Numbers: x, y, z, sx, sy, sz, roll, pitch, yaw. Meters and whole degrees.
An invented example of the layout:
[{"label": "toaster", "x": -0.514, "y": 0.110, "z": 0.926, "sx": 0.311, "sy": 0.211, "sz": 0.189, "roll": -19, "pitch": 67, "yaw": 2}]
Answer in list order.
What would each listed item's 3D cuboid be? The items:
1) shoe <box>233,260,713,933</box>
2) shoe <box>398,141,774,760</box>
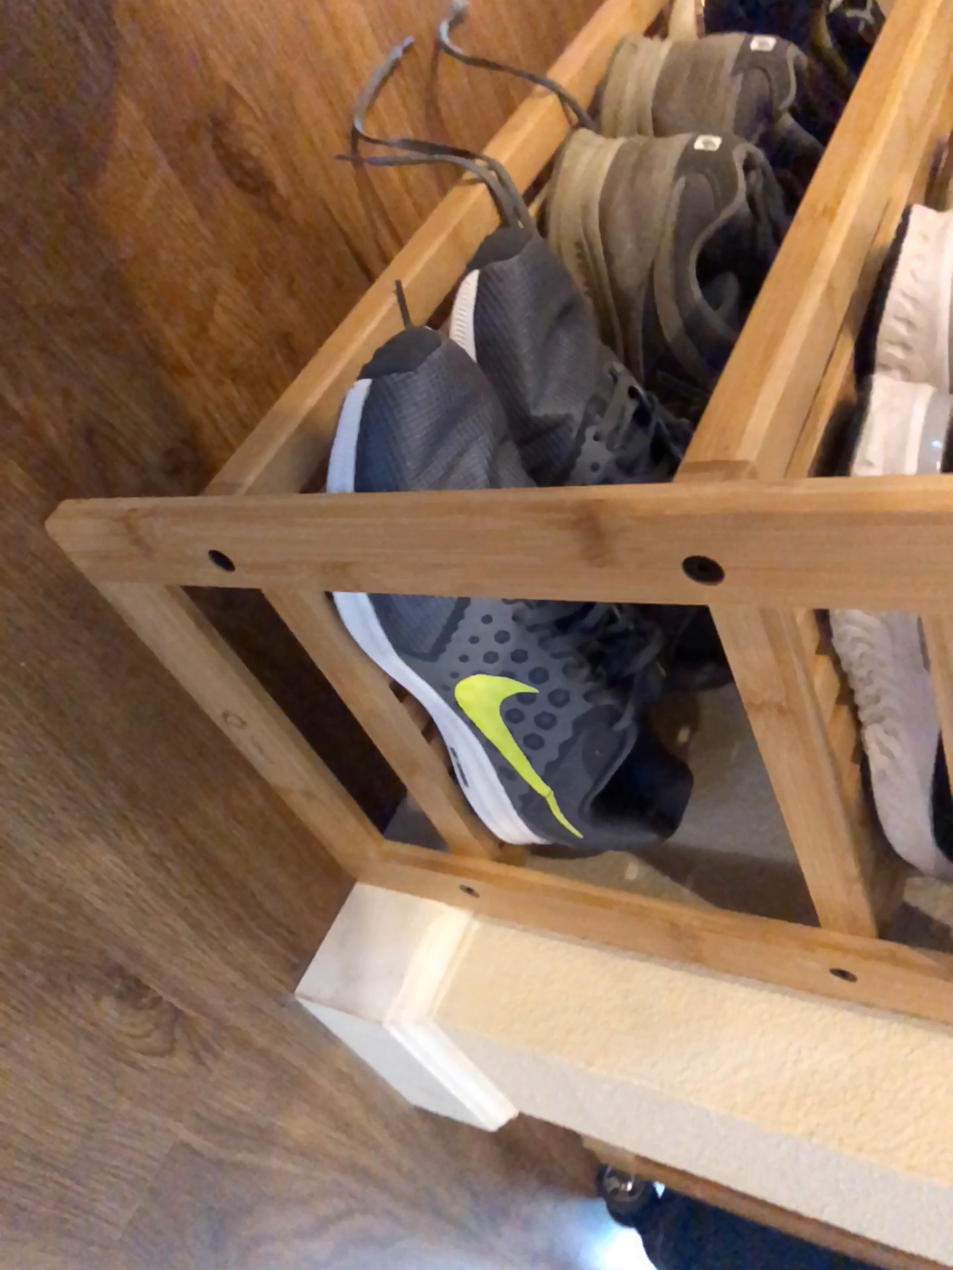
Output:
[{"label": "shoe", "x": 0.023, "y": 0.001, "z": 0.499, "sx": 0.120, "sy": 0.070, "sz": 0.312, "roll": -60, "pitch": 138, "yaw": -33}, {"label": "shoe", "x": 0.077, "y": -0.076, "z": 0.560, "sx": 0.110, "sy": 0.070, "sz": 0.312, "roll": -60, "pitch": 138, "yaw": -33}]
